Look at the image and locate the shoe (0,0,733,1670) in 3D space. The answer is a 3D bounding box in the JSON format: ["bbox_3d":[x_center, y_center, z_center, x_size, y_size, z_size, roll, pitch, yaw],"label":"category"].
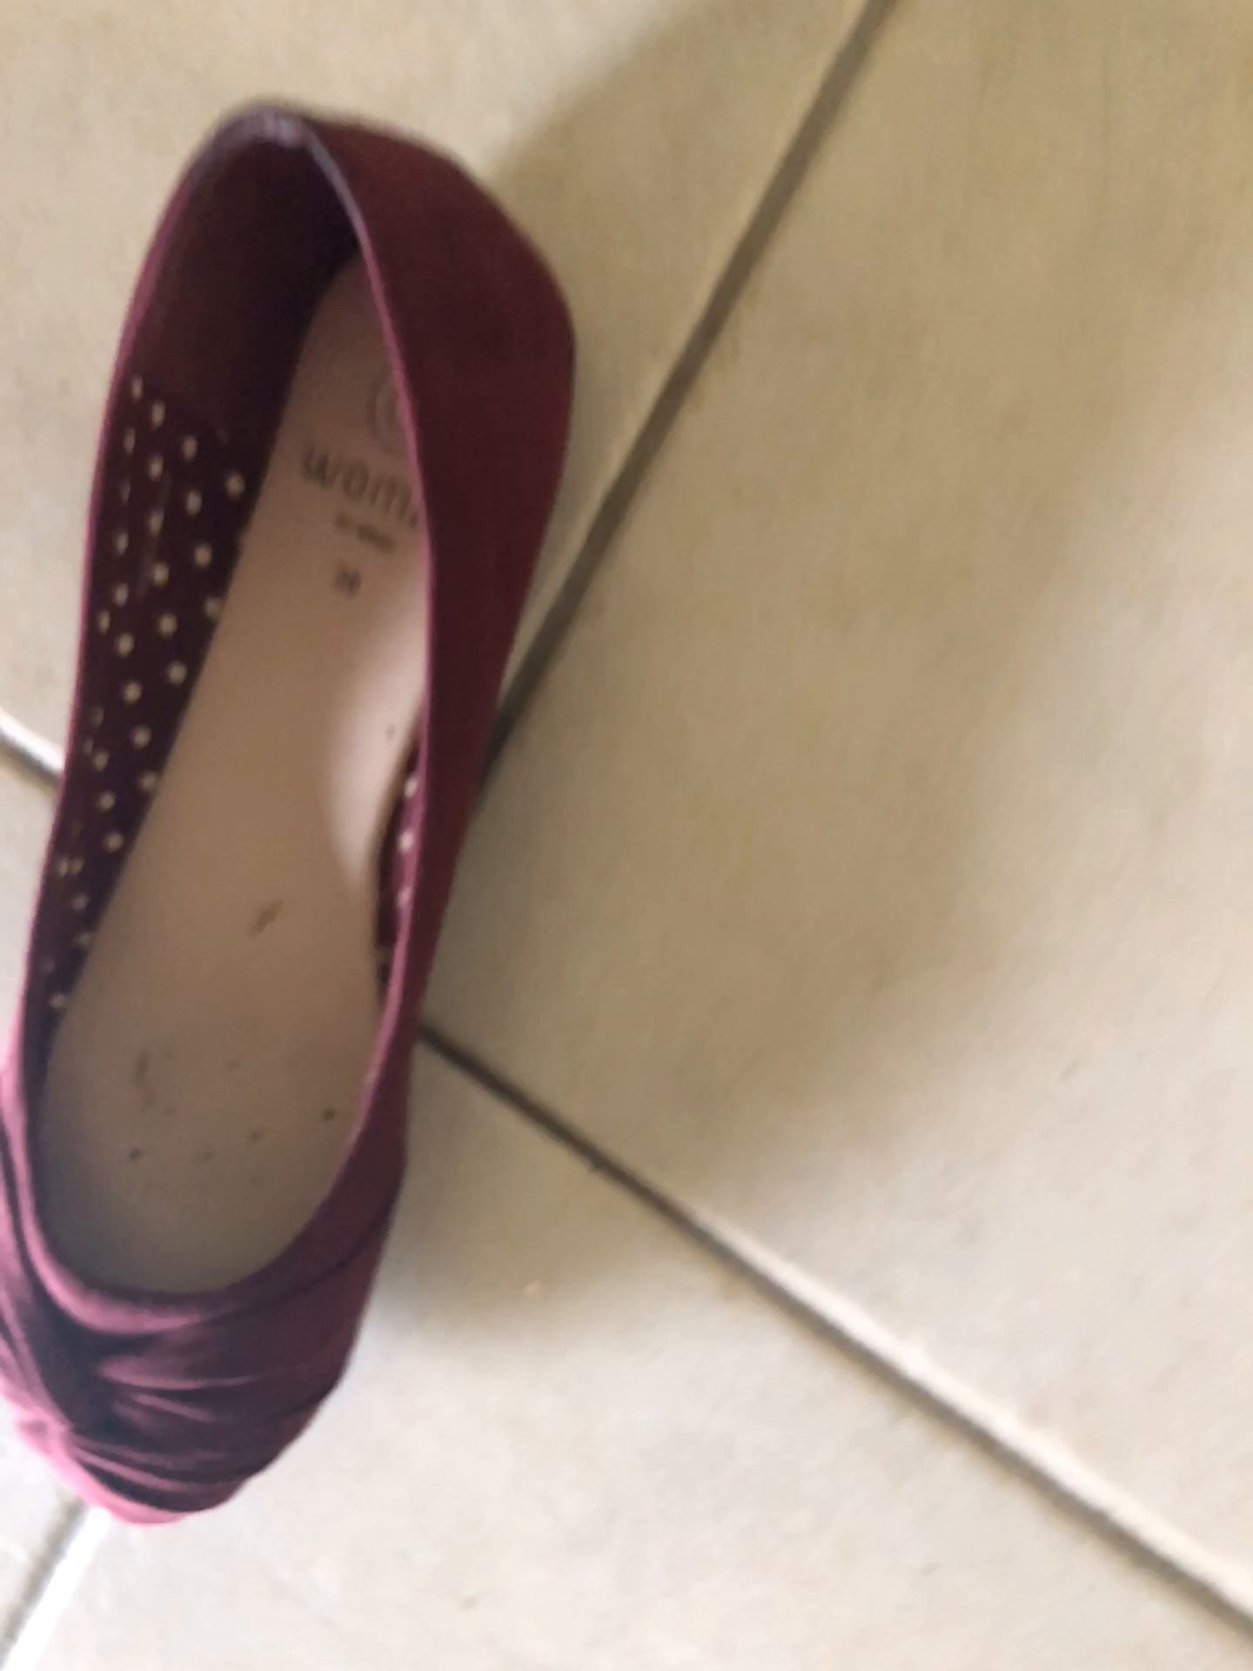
[{"bbox_3d":[-0.071,0.006,0.249,0.082,0.080,0.250,22,101,21],"label":"shoe"}]
